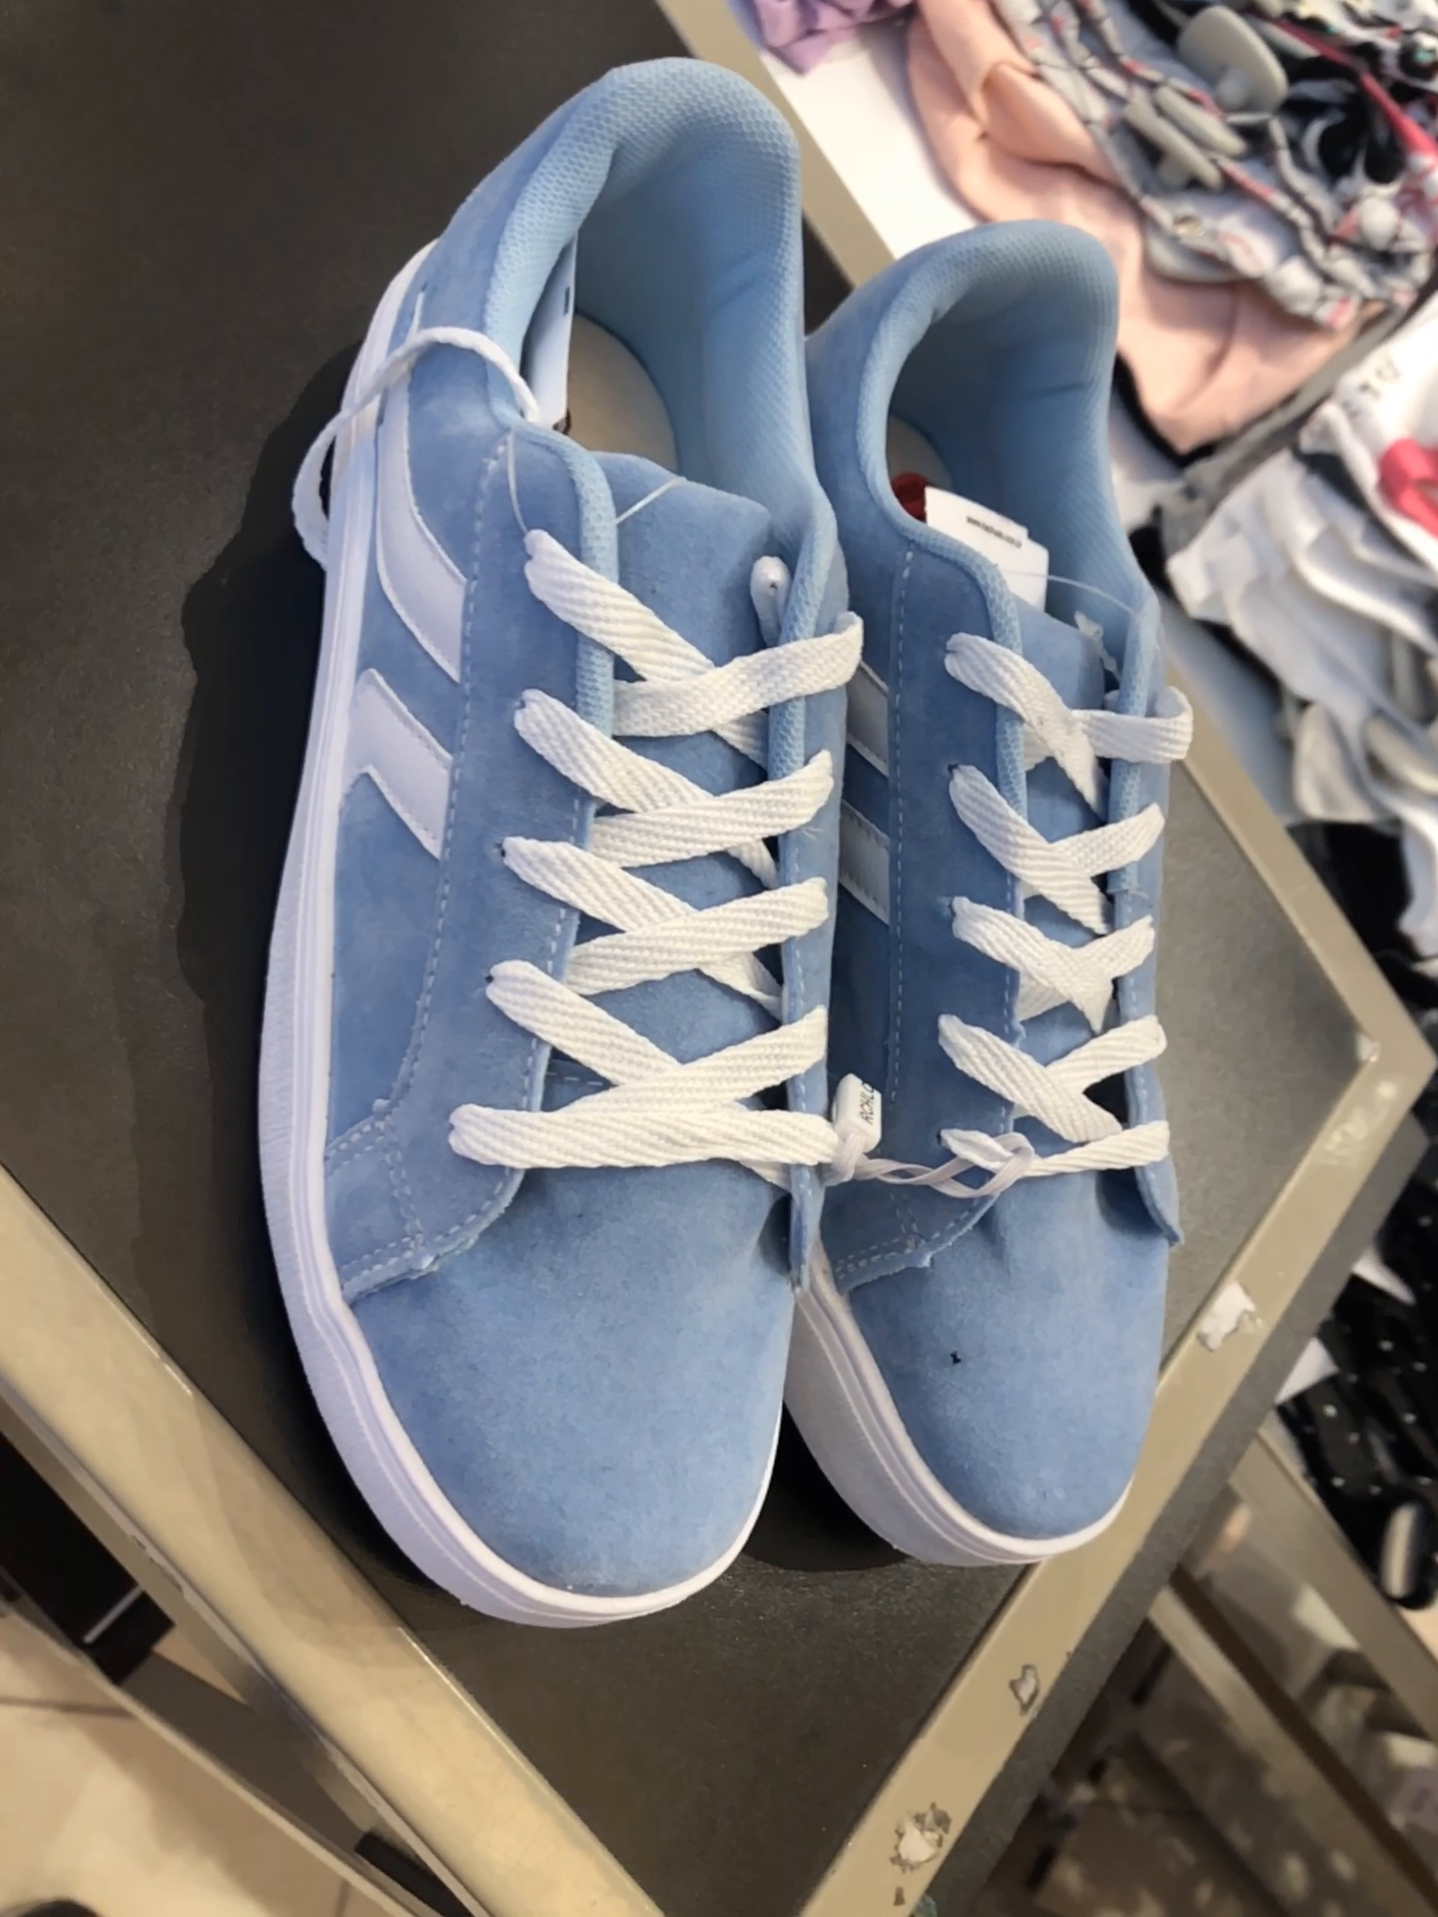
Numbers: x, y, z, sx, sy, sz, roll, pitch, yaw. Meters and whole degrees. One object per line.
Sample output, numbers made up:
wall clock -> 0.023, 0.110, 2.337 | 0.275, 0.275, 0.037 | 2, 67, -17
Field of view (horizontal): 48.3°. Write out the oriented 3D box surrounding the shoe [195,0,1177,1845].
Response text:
shoe -> -0.019, -0.011, 0.264 | 0.100, 0.119, 0.240 | 4, 75, -30

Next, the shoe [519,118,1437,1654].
shoe -> 0.039, -0.009, 0.318 | 0.100, 0.119, 0.240 | 1, 77, -31
